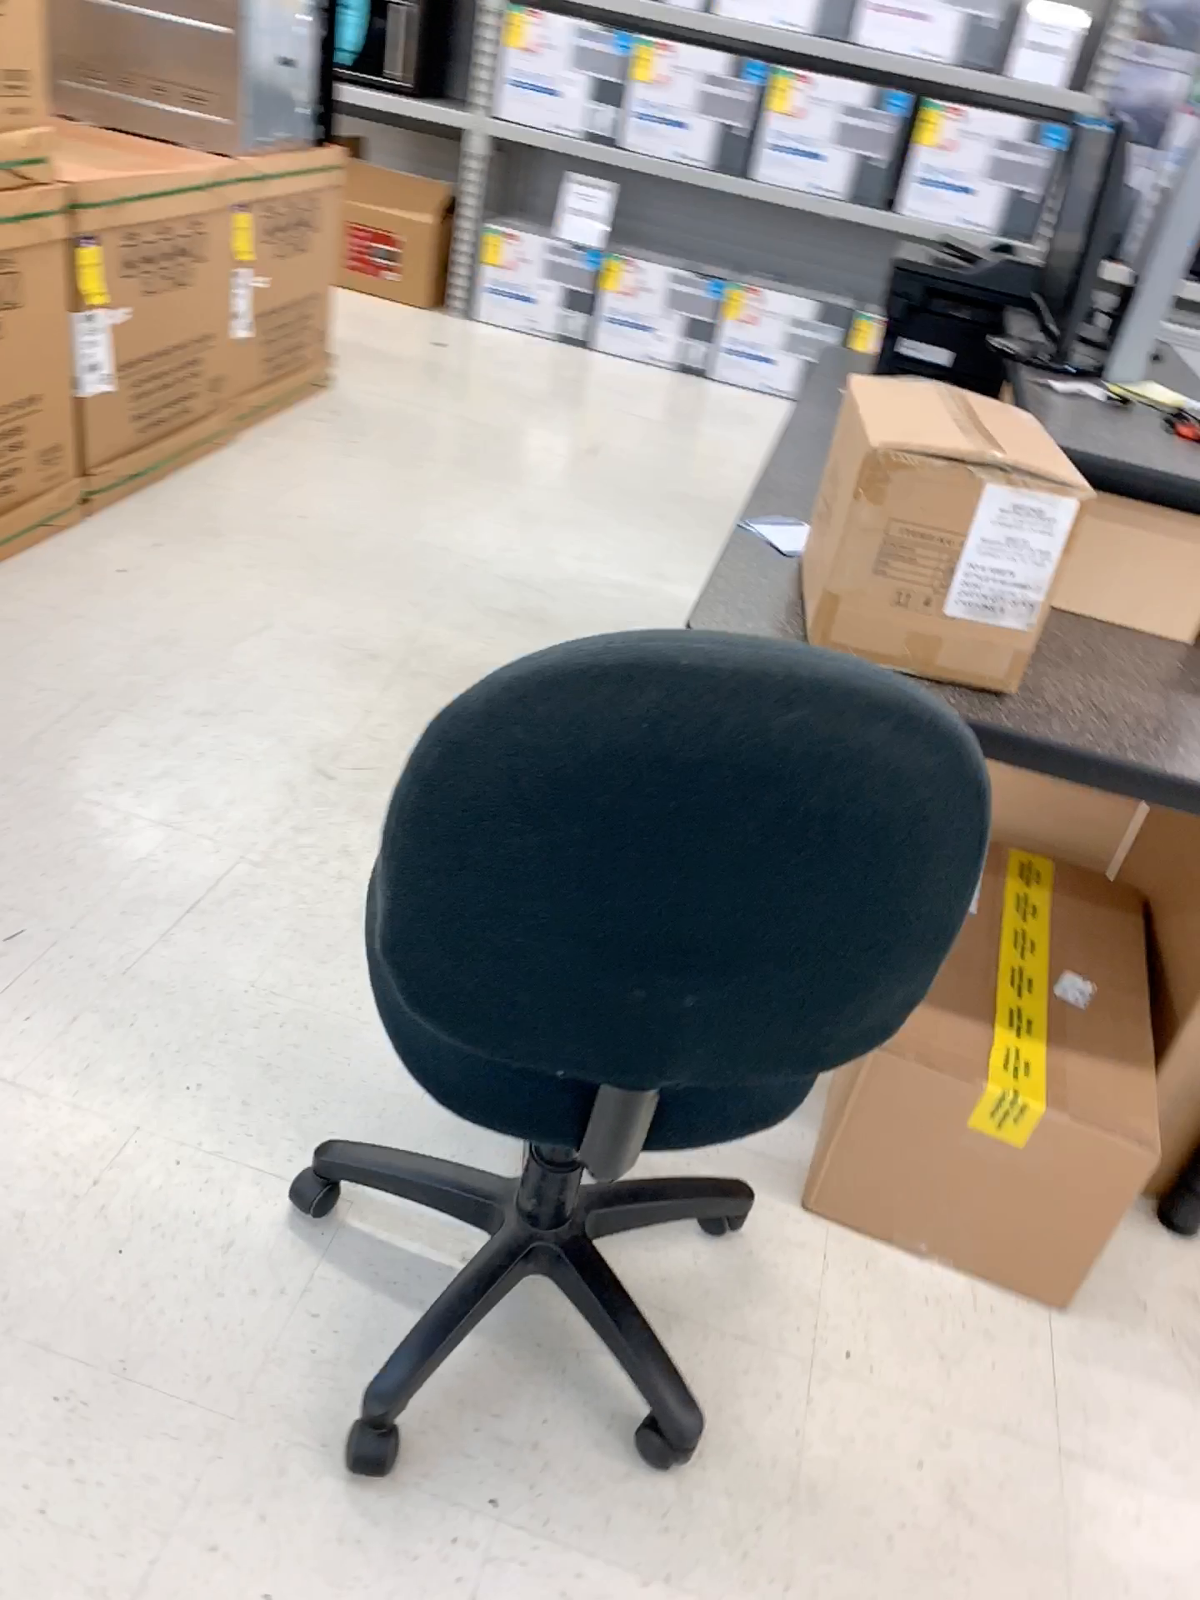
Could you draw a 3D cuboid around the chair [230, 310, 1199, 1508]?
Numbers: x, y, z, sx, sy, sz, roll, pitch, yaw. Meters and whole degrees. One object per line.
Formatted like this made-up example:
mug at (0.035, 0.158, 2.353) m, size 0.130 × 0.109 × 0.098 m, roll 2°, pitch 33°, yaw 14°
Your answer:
chair at (0.008, 0.129, 1.218) m, size 0.600 × 0.965 × 0.603 m, roll 7°, pitch 32°, yaw -8°
